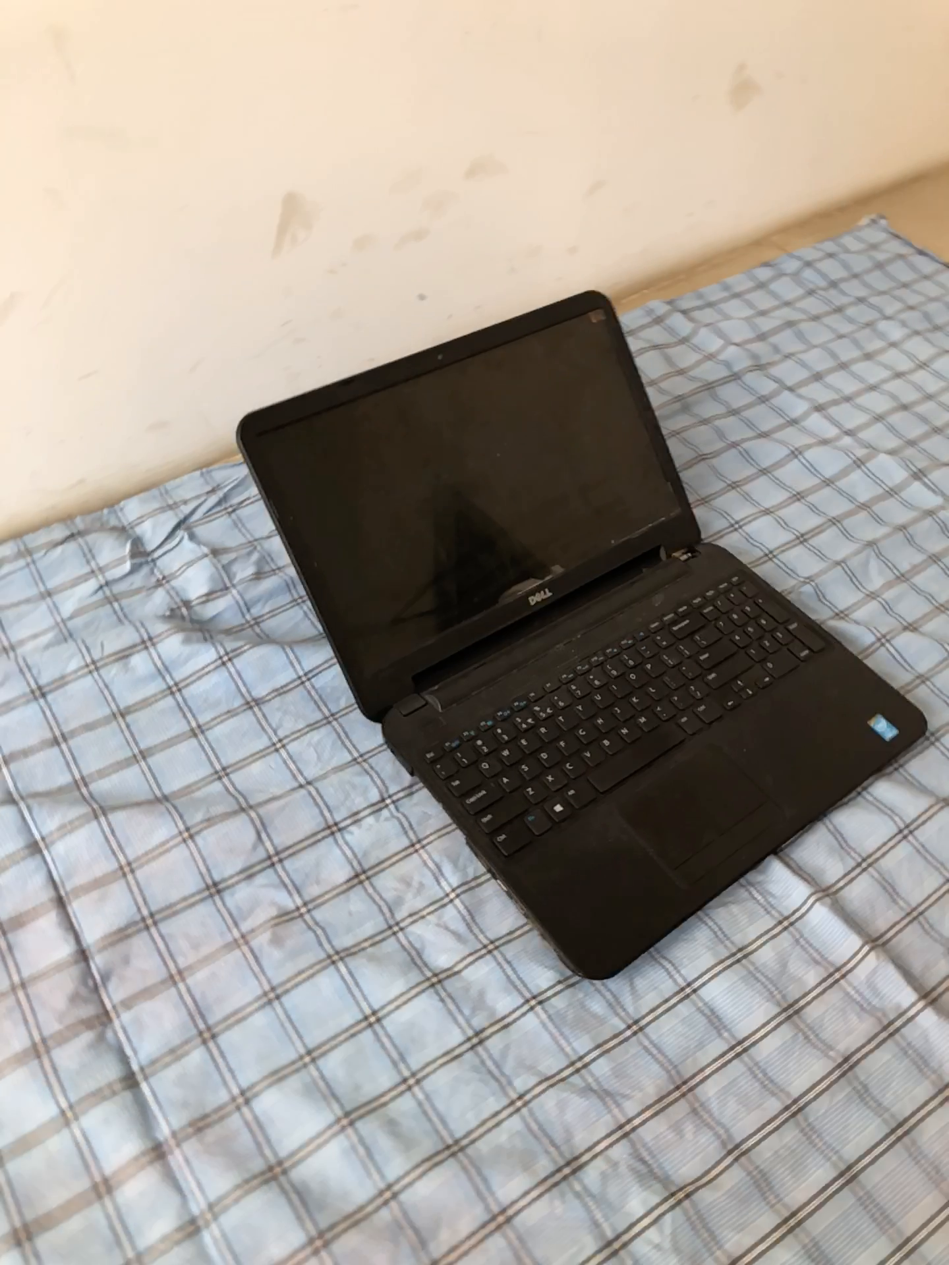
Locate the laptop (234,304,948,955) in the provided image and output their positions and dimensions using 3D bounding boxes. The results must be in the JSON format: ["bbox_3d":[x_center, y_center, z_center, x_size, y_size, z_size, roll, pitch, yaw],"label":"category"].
[{"bbox_3d":[0.089,-0.043,0.788,0.356,0.163,0.414,-27,53,-28],"label":"laptop"}]
